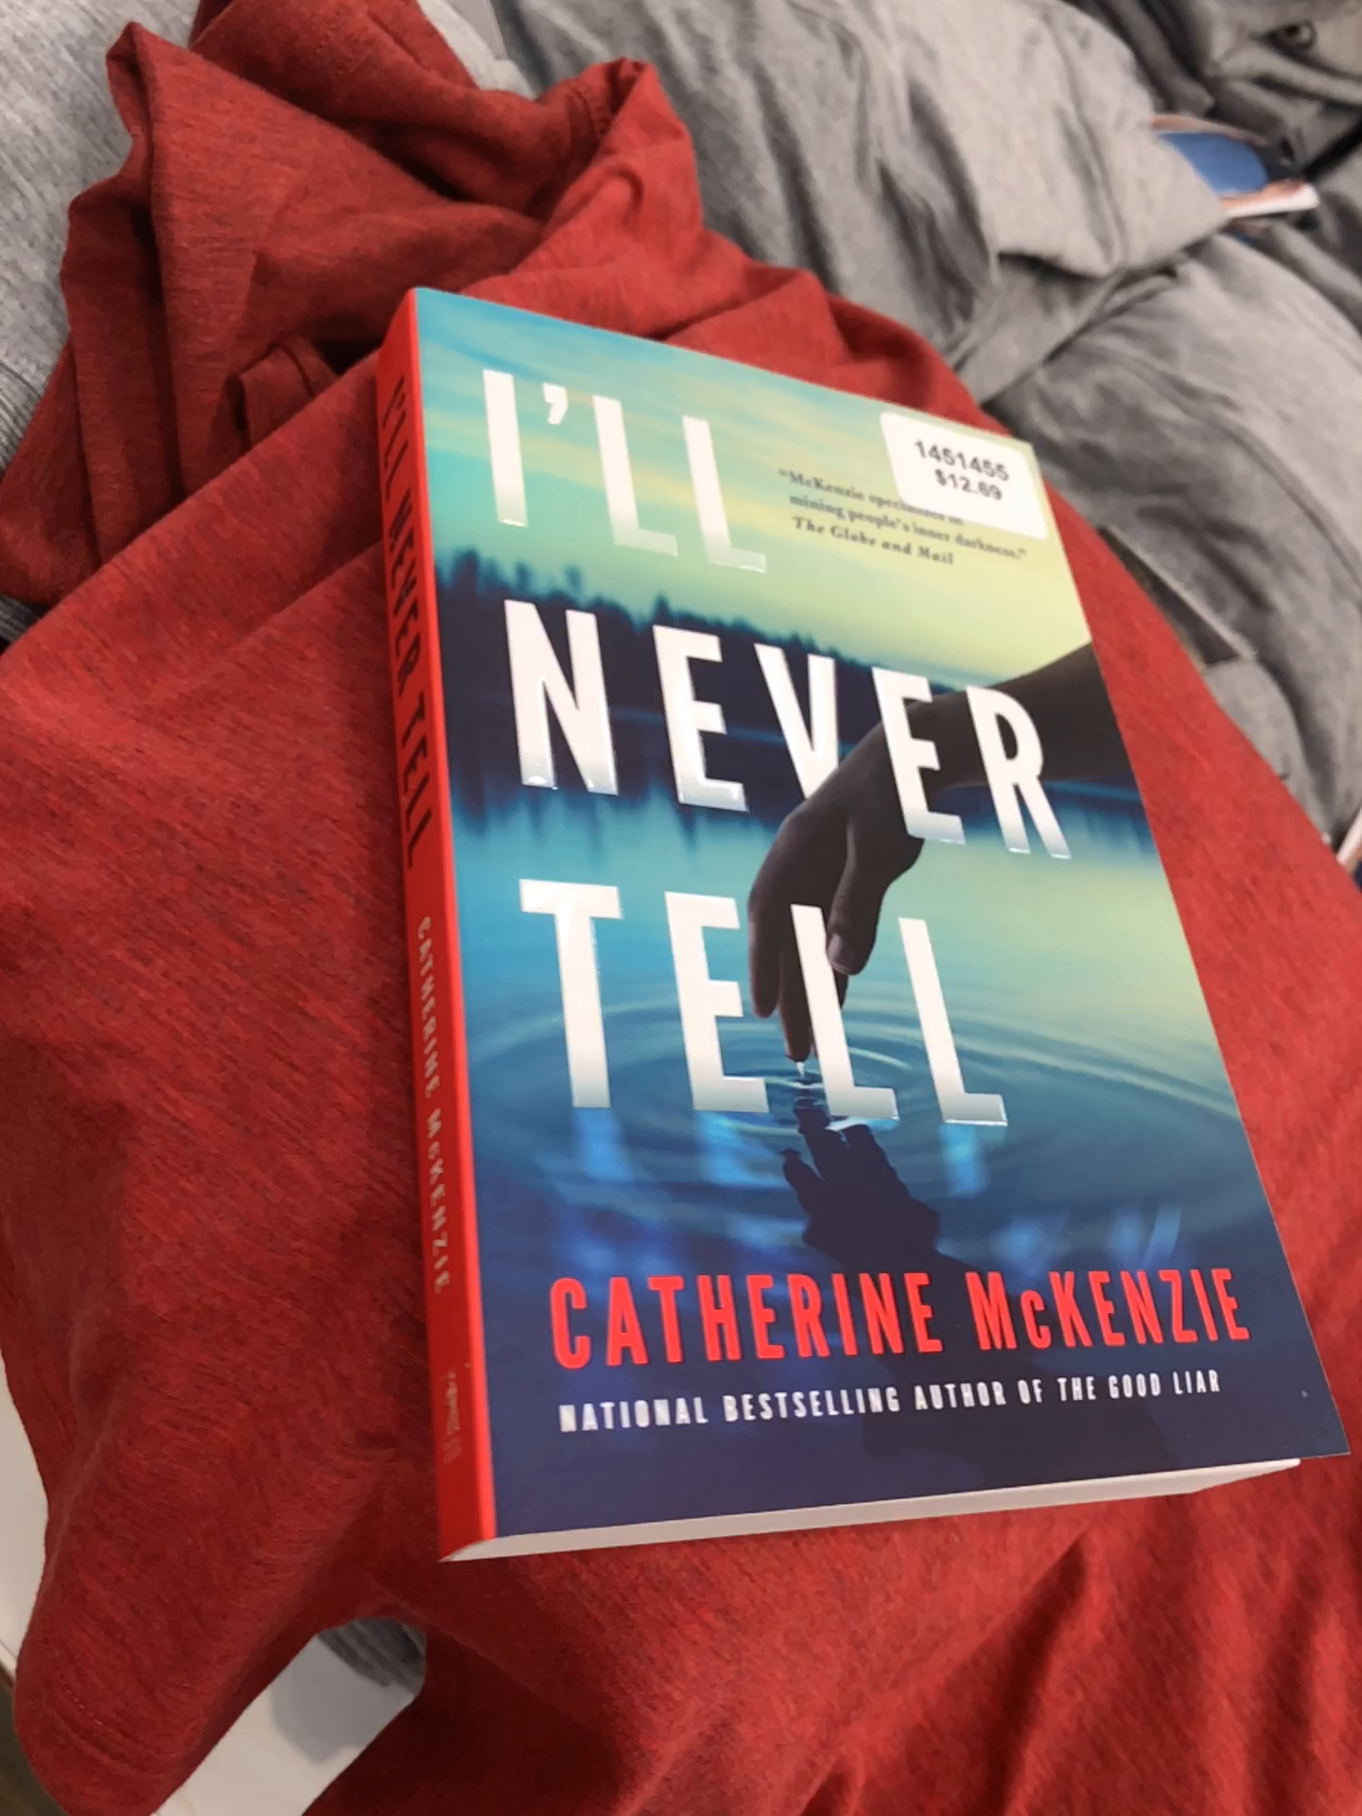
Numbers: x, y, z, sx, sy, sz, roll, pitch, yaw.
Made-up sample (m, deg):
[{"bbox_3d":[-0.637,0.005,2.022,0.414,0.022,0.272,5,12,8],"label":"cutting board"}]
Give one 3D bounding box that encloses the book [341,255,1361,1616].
[{"bbox_3d":[0.022,-0.006,0.256,0.144,0.032,0.208,5,60,-25],"label":"book"}]
